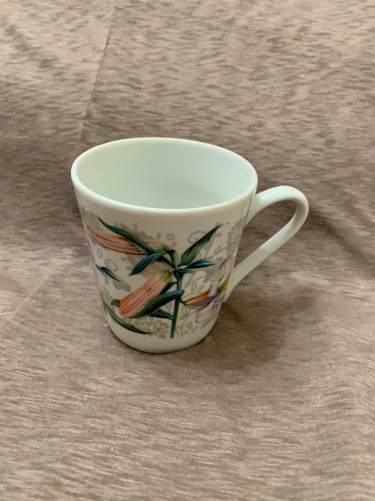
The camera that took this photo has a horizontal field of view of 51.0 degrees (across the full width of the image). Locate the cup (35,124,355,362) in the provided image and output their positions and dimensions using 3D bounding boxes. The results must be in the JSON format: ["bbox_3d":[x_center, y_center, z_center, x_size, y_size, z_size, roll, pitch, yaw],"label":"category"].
[{"bbox_3d":[0.004,-0.008,0.205,0.119,0.088,0.085,2,33,3],"label":"cup"}]
